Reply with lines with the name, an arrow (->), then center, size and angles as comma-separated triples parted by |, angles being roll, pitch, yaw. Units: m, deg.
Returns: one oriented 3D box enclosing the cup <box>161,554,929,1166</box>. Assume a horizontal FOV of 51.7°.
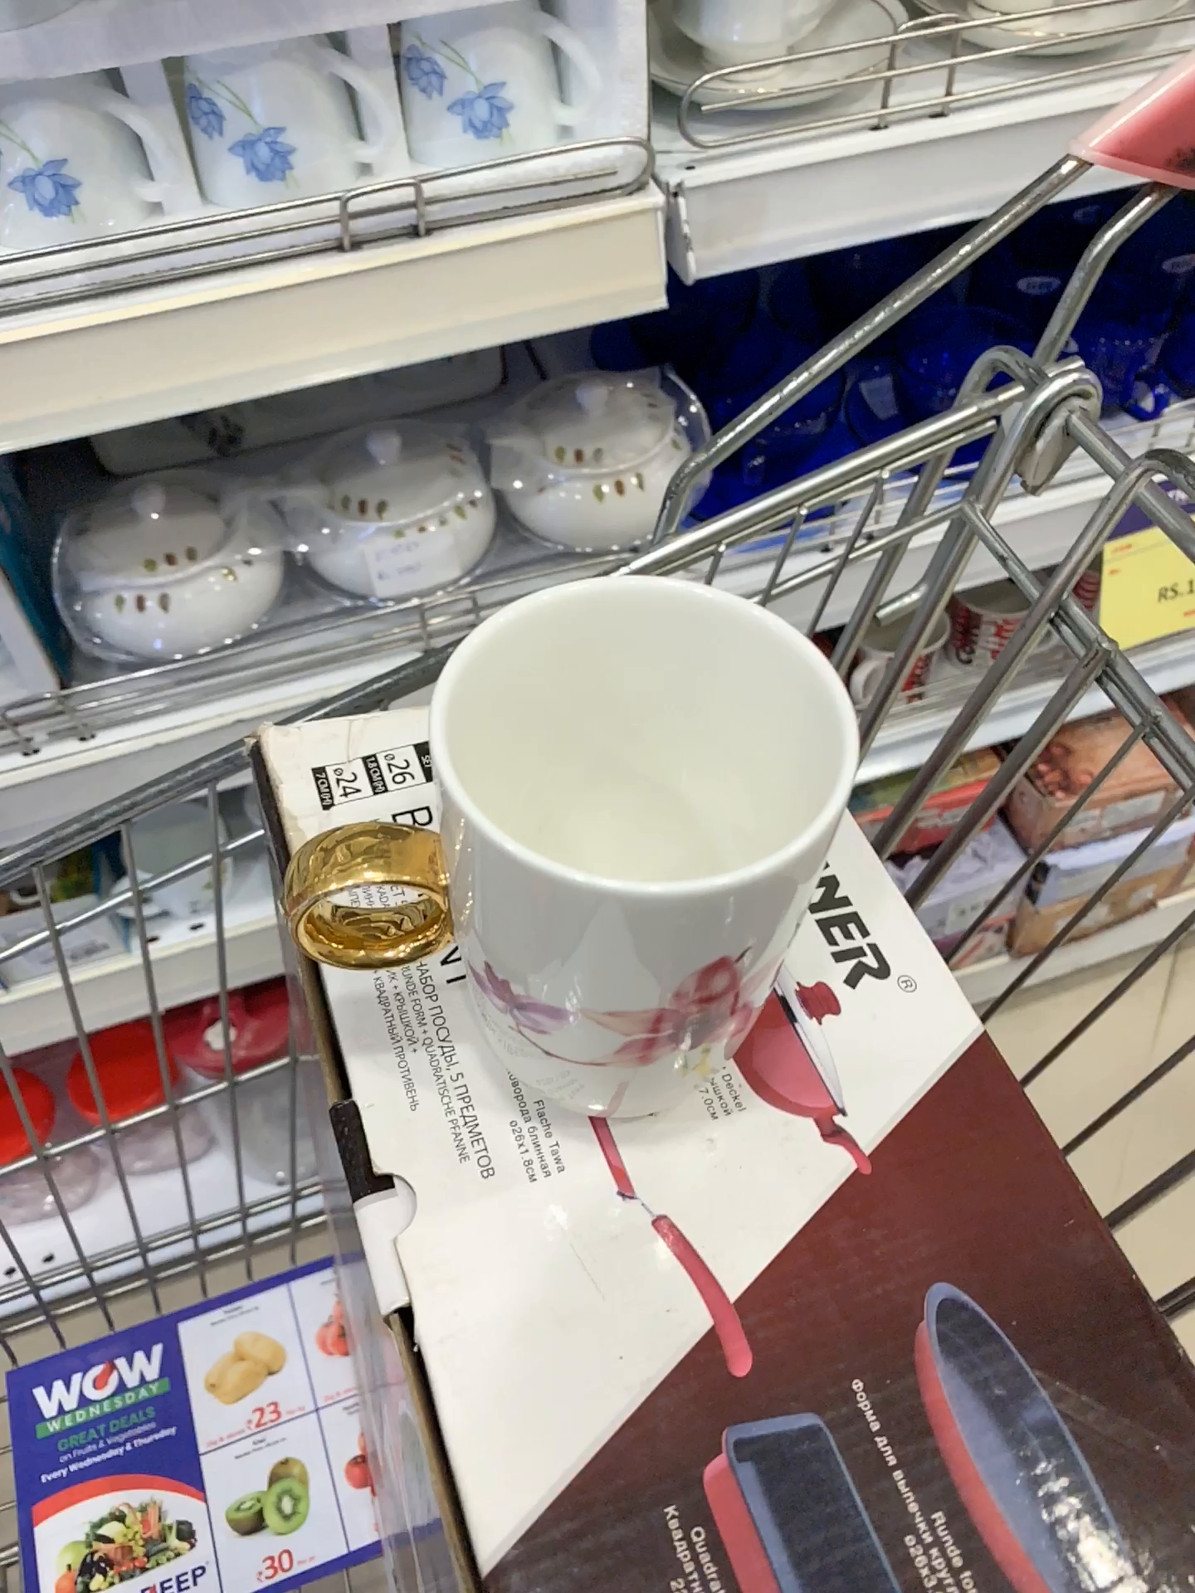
cup -> -0.010, 0.015, 0.233 | 0.110, 0.090, 0.070 | -3, 52, -3
